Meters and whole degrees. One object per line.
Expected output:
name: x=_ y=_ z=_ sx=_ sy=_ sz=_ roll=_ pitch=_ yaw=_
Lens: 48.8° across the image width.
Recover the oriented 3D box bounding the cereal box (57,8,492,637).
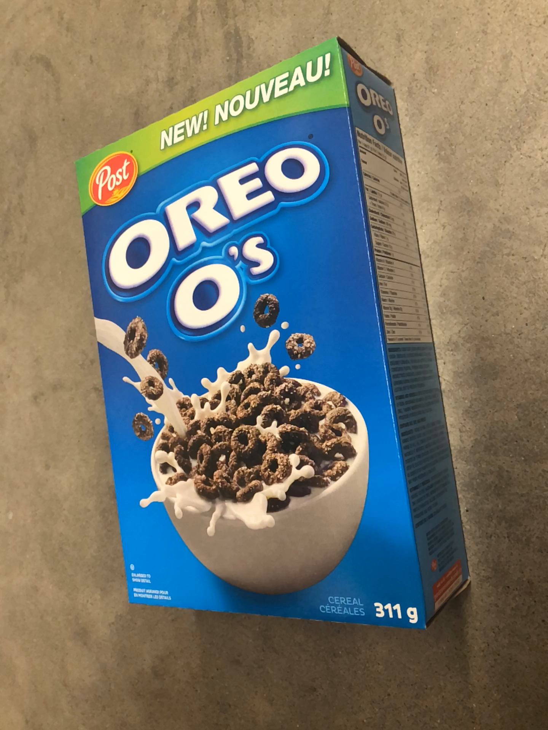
cereal box: x=-0.013 y=-0.008 z=0.351 sx=0.211 sy=0.070 sz=0.280 roll=-10 pitch=86 yaw=33
